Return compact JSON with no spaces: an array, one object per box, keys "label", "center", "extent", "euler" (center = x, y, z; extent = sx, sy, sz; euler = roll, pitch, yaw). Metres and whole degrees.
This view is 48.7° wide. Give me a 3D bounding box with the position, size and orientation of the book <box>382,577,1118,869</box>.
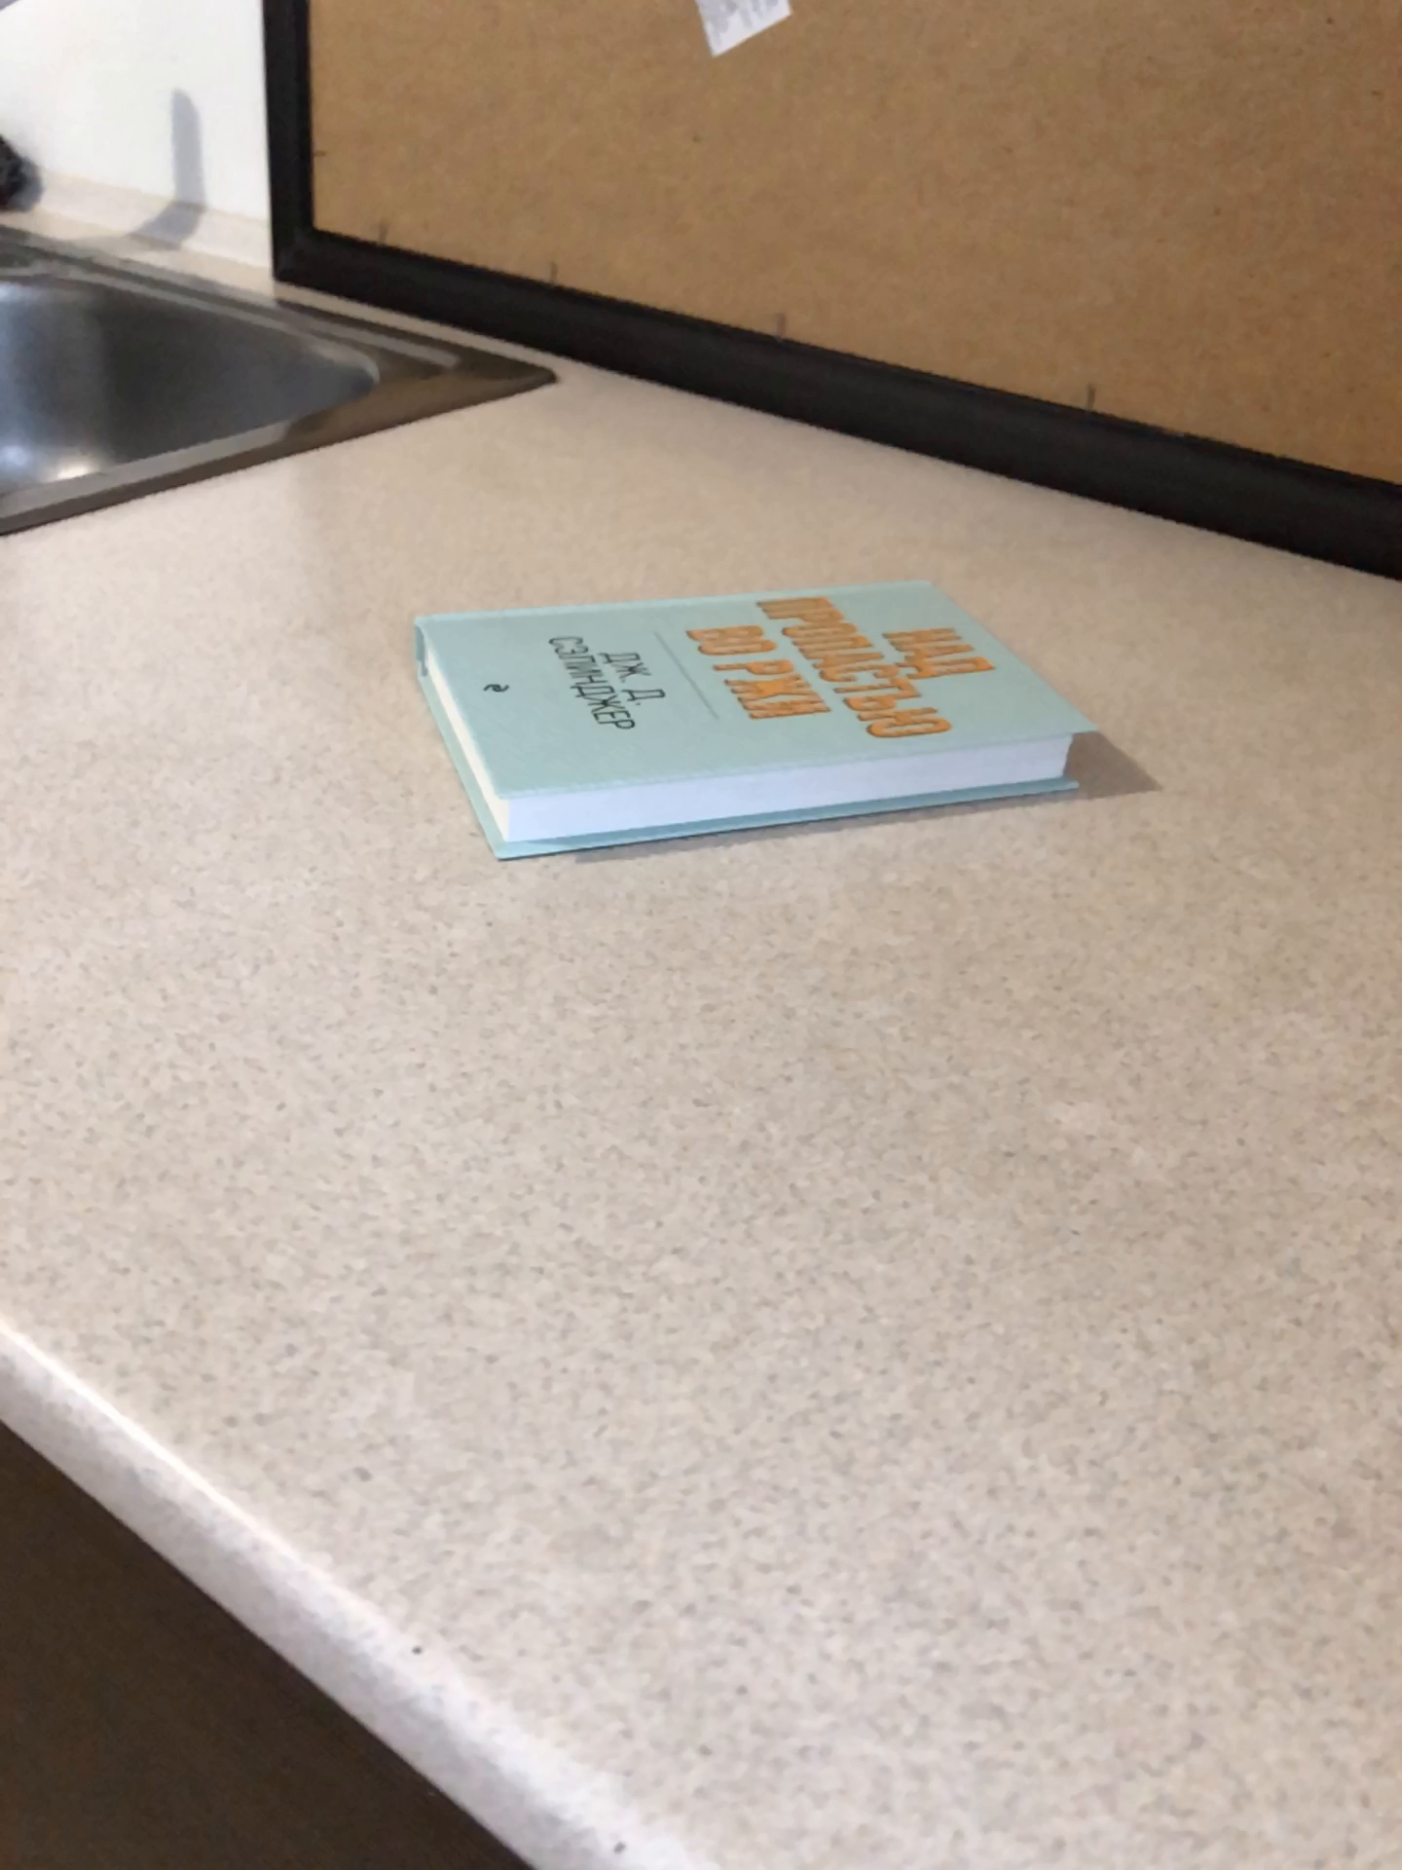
[{"label":"book","center":[0.008,-0.067,0.443],"extent":[0.180,0.020,0.118],"euler":[-7,35,-16]}]
